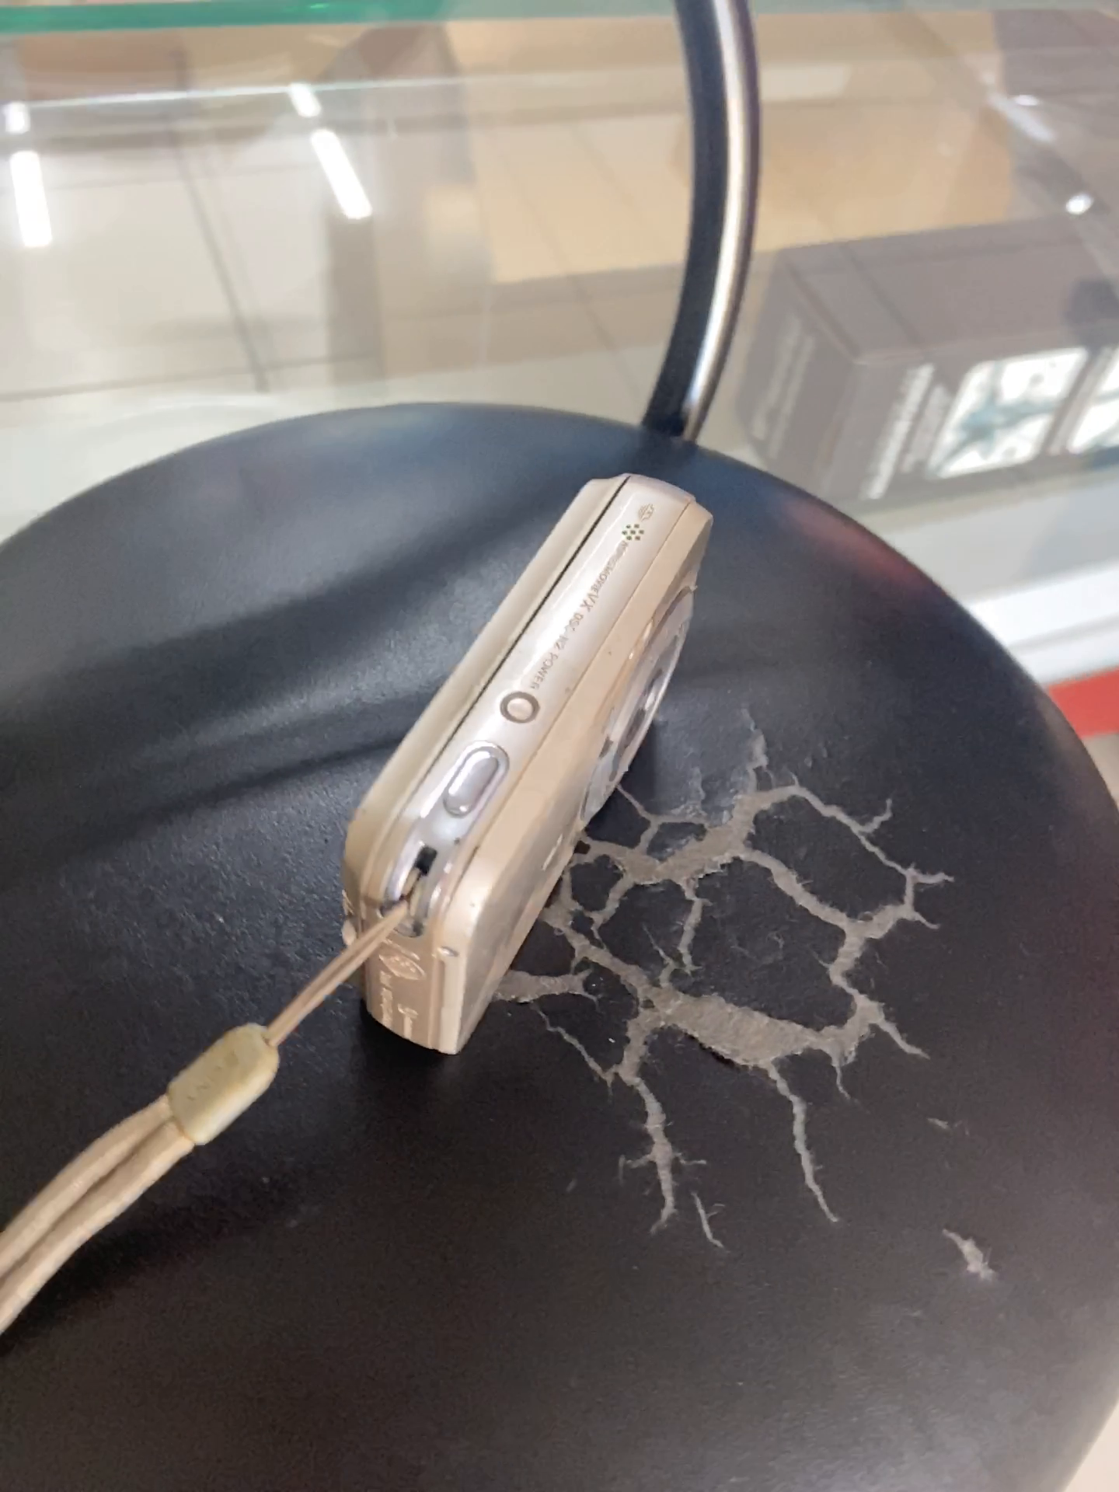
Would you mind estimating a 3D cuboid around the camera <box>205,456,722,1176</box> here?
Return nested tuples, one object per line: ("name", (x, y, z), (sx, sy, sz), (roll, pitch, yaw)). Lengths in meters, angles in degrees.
("camera", (-0.012, 0.009, 0.204), (0.030, 0.060, 0.111), (25, 55, 10))
